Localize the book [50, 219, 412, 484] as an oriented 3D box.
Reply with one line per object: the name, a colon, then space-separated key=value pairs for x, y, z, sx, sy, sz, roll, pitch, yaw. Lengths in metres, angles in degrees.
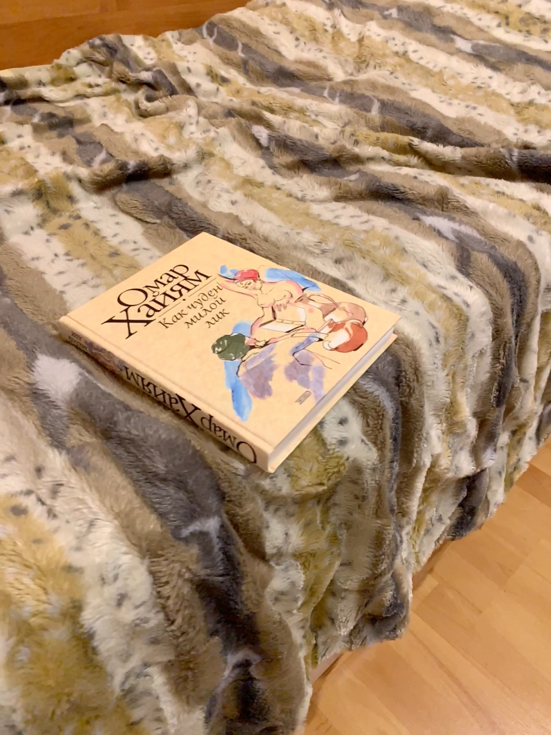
book: x=-0.035 y=-0.033 z=0.443 sx=0.221 sy=0.030 sz=0.171 roll=29 pitch=52 yaw=27
